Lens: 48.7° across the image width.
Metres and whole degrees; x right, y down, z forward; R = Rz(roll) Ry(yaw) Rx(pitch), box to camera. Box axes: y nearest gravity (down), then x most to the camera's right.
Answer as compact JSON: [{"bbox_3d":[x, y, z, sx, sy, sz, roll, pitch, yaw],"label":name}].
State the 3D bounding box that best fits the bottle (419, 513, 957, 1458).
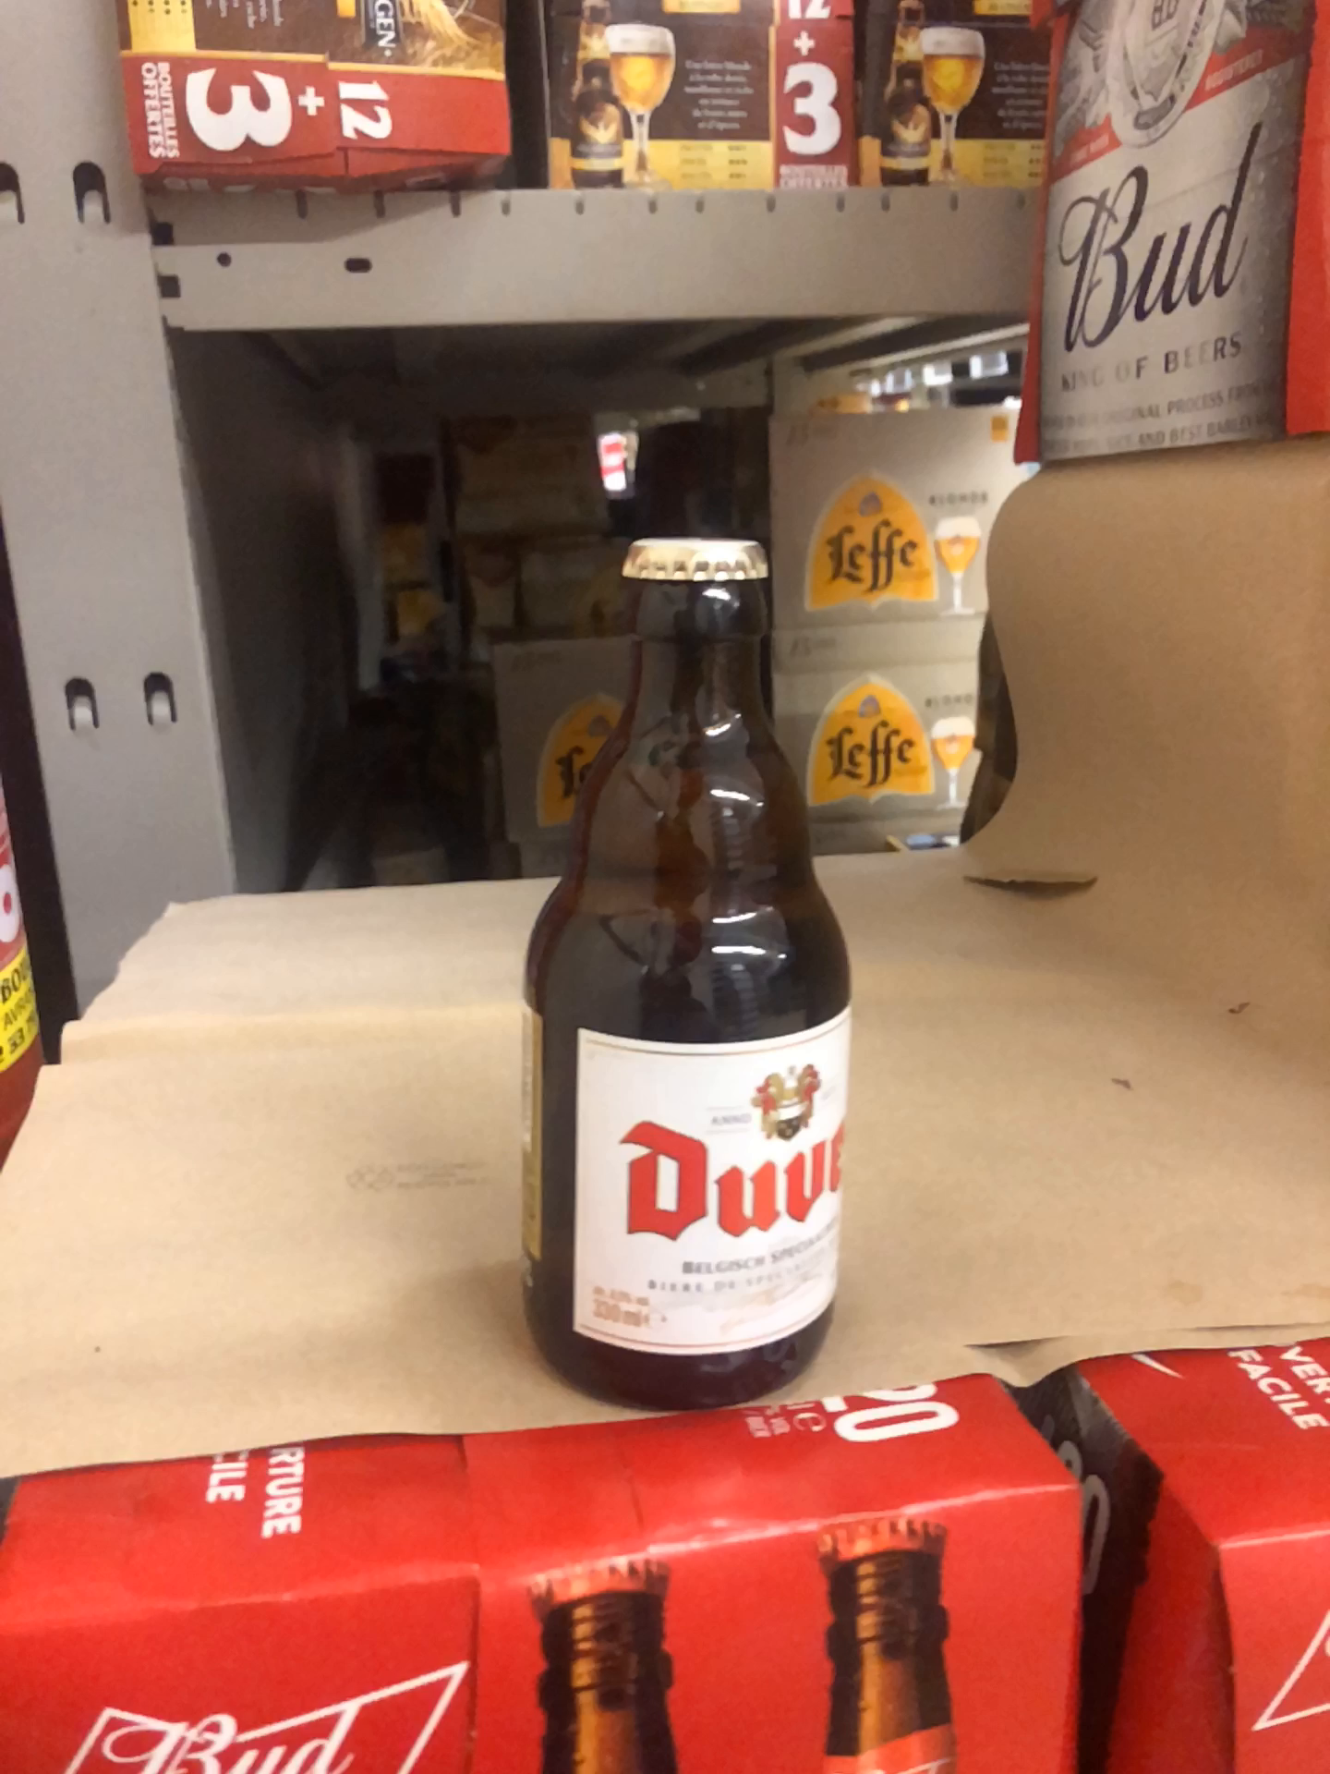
[{"bbox_3d":[0.006,0.012,0.304,0.080,0.169,0.070,-10,17,-25],"label":"bottle"}]
